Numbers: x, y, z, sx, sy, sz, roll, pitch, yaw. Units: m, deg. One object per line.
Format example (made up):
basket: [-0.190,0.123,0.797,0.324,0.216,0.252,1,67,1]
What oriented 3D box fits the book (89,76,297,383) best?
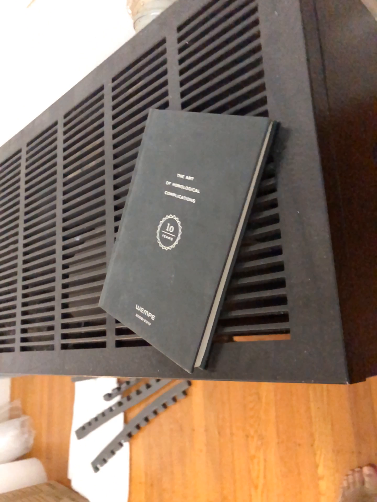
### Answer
book: [-0.011,-0.032,0.388,0.161,0.020,0.250,23,98,45]
